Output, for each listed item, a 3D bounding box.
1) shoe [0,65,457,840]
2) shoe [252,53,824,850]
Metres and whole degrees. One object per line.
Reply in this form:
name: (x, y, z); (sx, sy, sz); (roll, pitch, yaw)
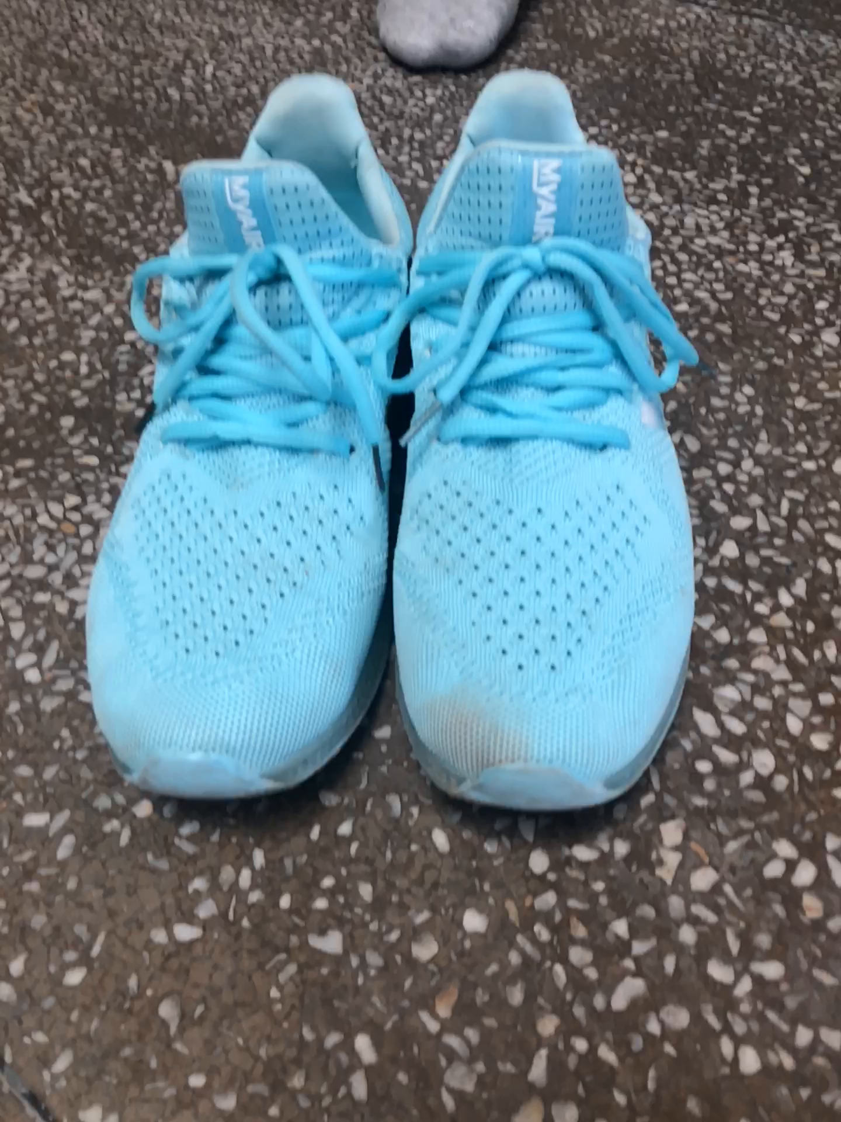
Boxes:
shoe: (-0.059, -0.058, 0.342); (0.120, 0.125, 0.271); (2, 50, 6)
shoe: (0.037, -0.056, 0.332); (0.120, 0.125, 0.271); (1, 50, 5)
